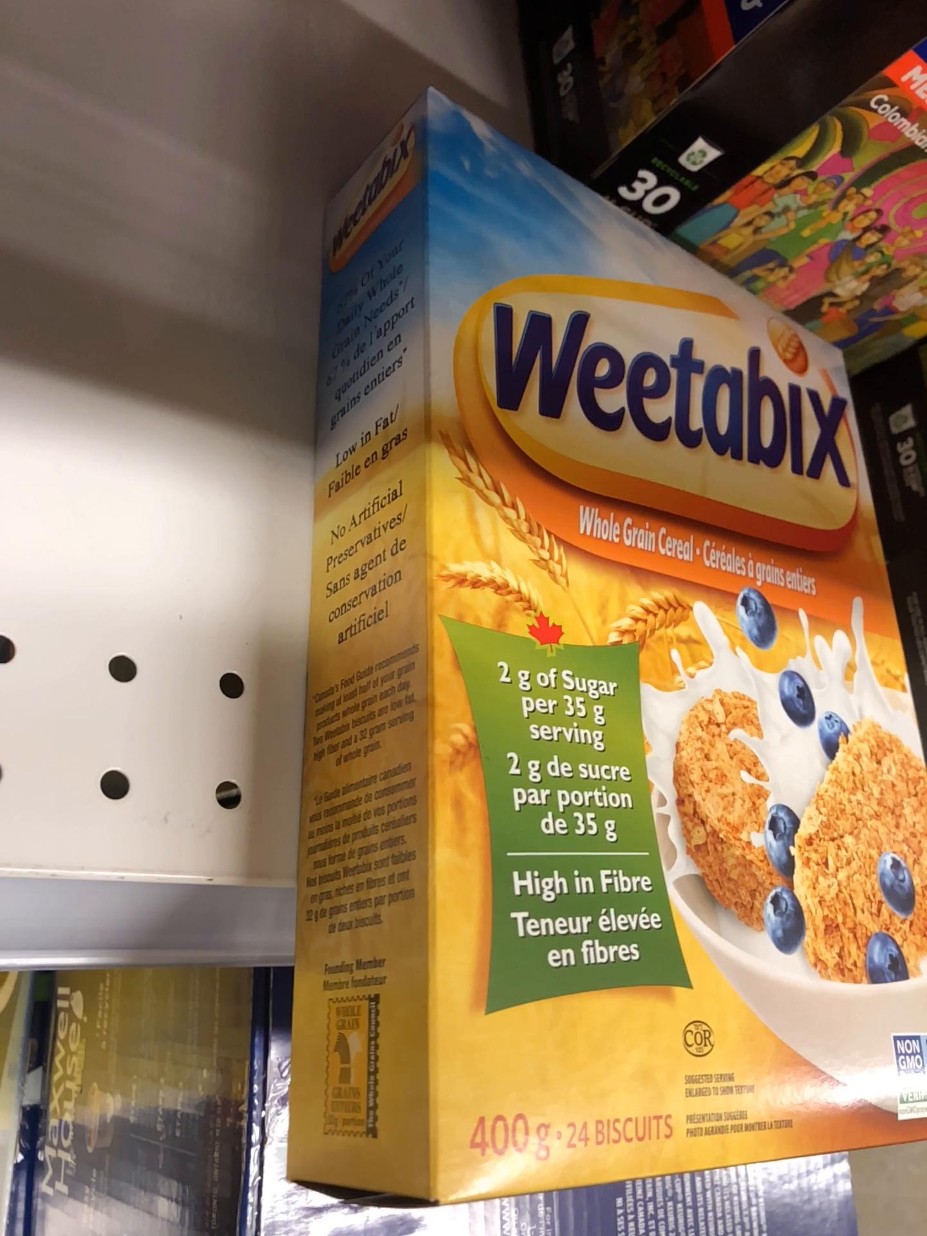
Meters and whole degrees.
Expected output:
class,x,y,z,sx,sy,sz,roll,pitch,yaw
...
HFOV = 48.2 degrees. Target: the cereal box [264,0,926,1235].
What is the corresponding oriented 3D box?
class,x,y,z,sx,sy,sz,roll,pitch,yaw
cereal box,0.054,-0.001,0.294,0.211,0.050,0.290,16,60,-35
